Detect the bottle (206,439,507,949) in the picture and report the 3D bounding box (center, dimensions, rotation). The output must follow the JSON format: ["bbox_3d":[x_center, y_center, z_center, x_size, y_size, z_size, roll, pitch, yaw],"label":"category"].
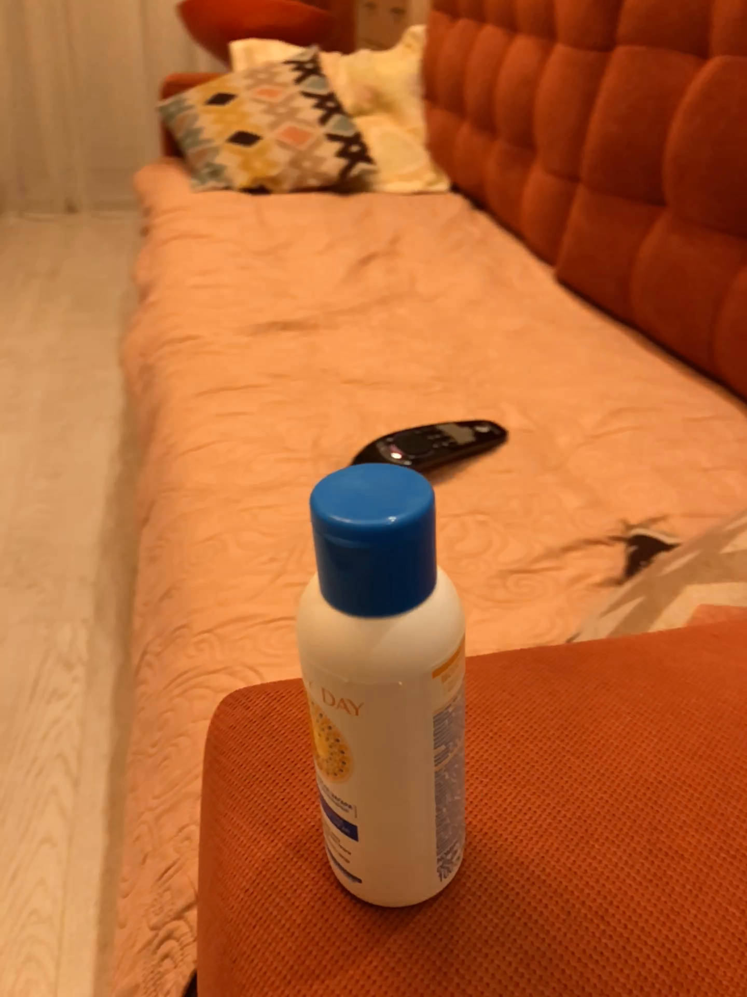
[{"bbox_3d":[-0.001,0.050,0.203,0.044,0.111,0.047,-3,35,2],"label":"bottle"}]
